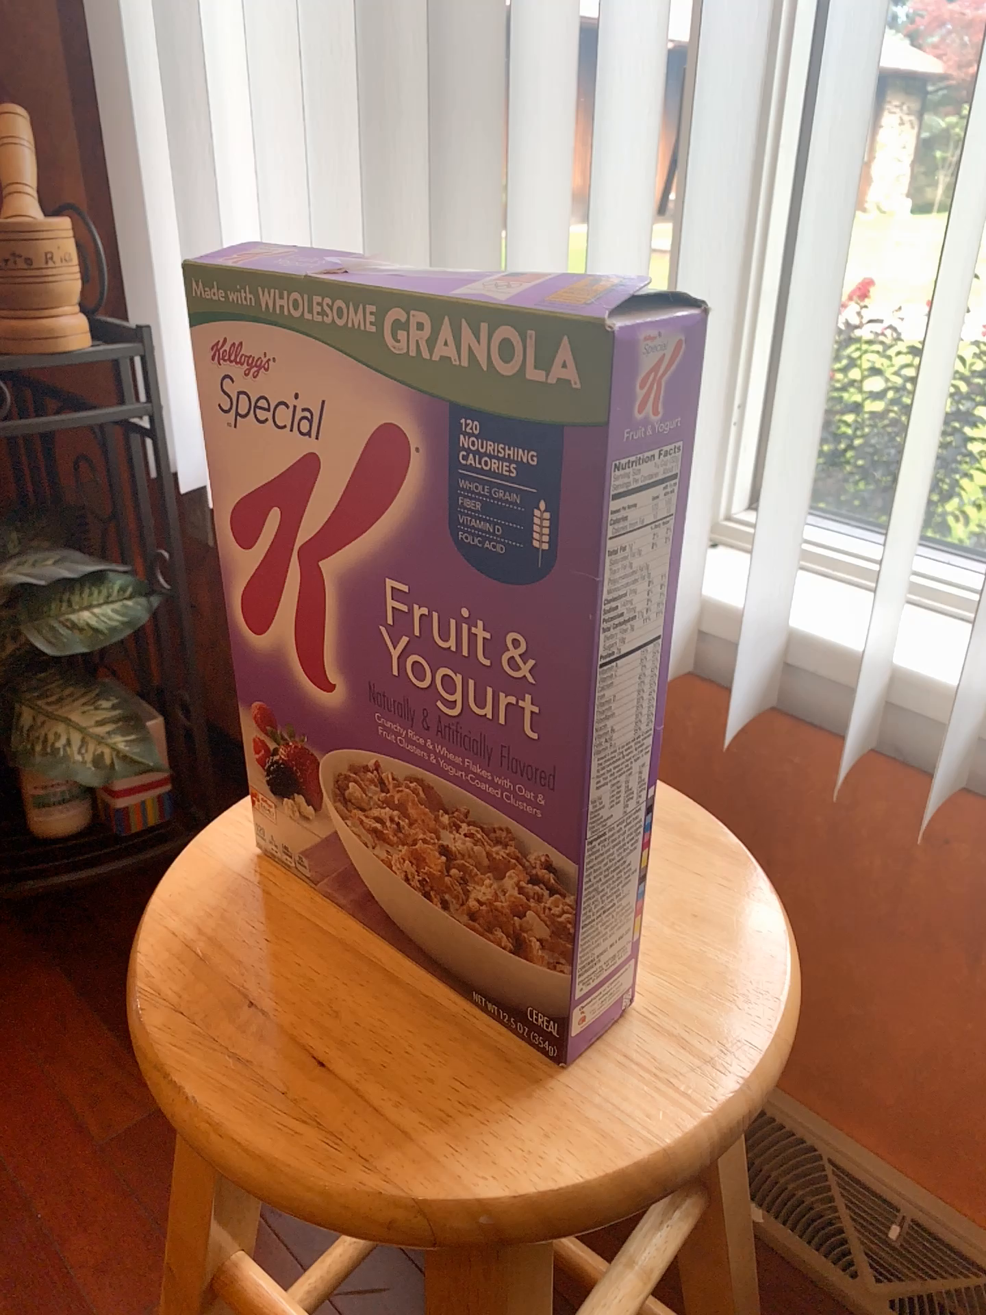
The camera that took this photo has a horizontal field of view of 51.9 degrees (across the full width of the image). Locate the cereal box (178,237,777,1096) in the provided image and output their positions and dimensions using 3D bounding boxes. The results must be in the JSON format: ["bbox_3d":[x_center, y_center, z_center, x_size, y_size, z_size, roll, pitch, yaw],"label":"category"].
[{"bbox_3d":[-0.020,-0.006,0.401,0.211,0.278,0.070,24,34,37],"label":"cereal box"}]
